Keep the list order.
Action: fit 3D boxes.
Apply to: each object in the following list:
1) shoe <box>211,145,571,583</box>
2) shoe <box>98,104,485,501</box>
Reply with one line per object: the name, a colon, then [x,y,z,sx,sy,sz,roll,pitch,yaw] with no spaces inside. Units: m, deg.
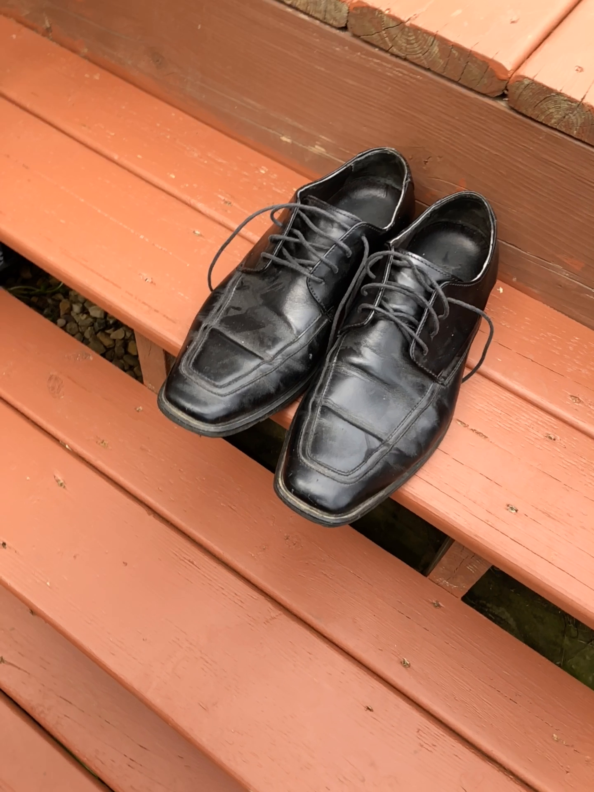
shoe: [0.082,-0.043,0.518,0.130,0.110,0.330,29,59,12]
shoe: [0.010,-0.093,0.547,0.130,0.110,0.330,32,60,14]
